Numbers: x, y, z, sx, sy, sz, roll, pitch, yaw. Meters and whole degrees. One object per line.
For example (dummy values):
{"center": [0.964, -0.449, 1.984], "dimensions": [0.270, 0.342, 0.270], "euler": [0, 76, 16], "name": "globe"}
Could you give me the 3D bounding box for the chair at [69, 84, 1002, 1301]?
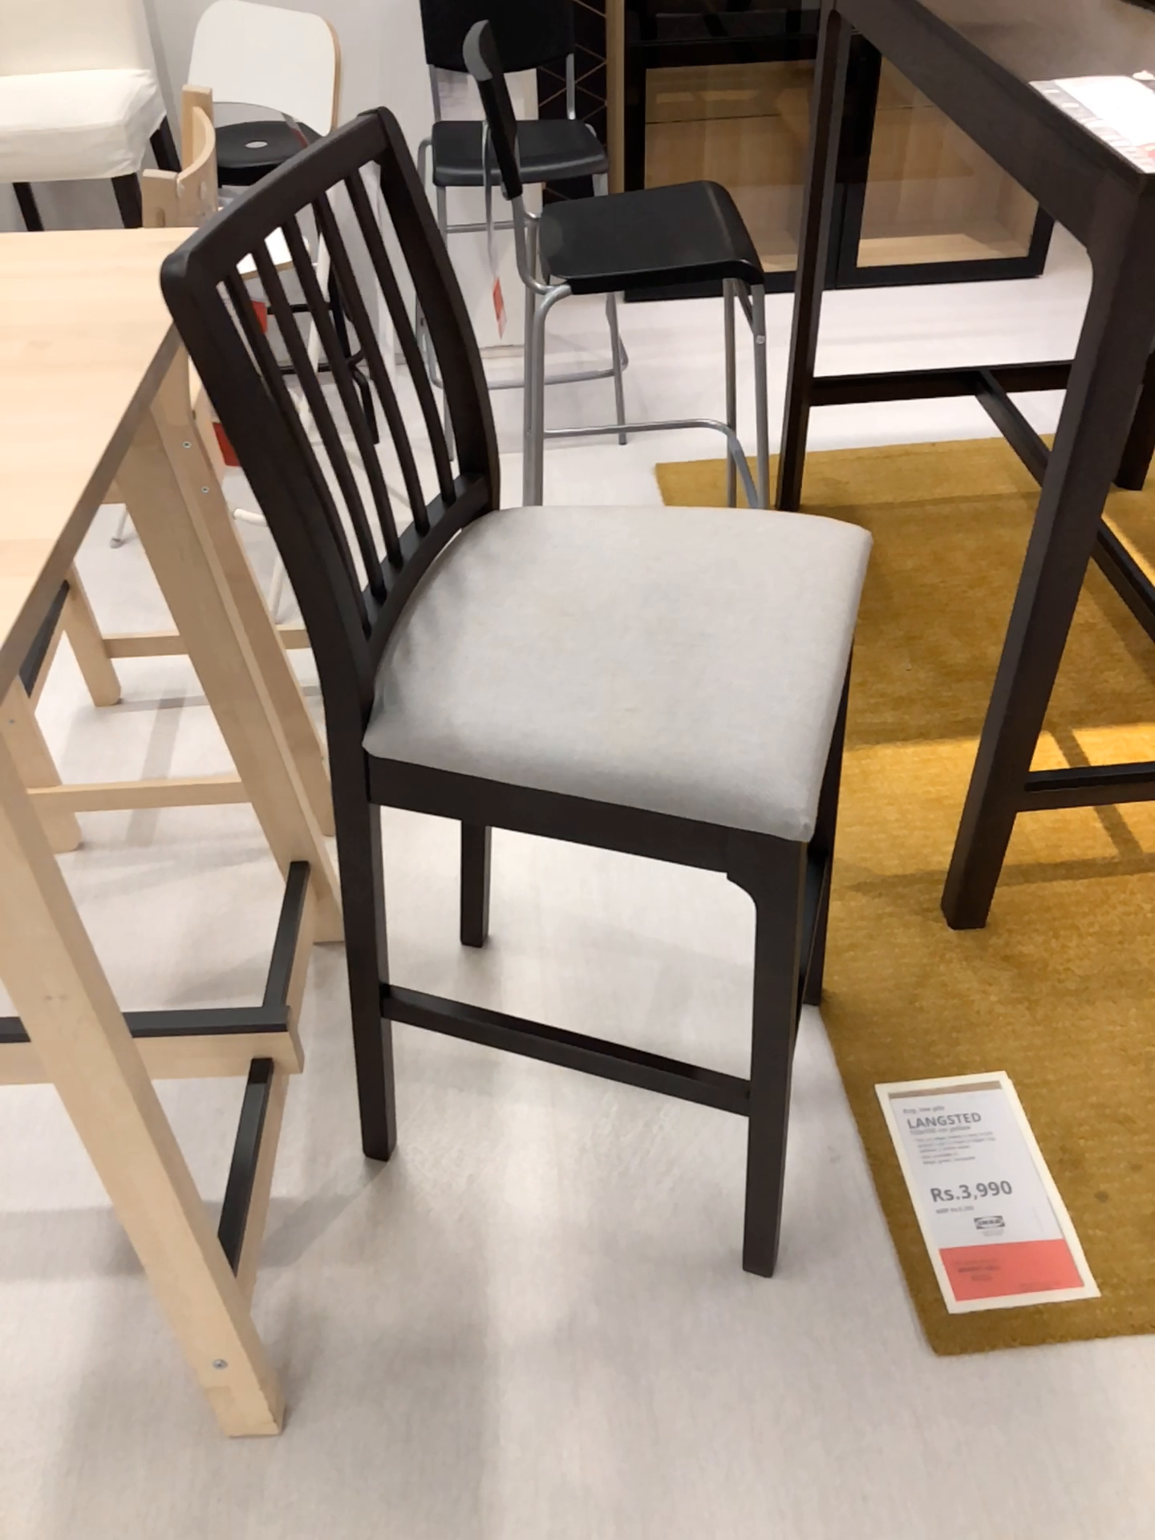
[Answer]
{"center": [0.025, -0.013, 1.282], "dimensions": [0.560, 1.093, 0.483], "euler": [9, 43, 12], "name": "chair"}
